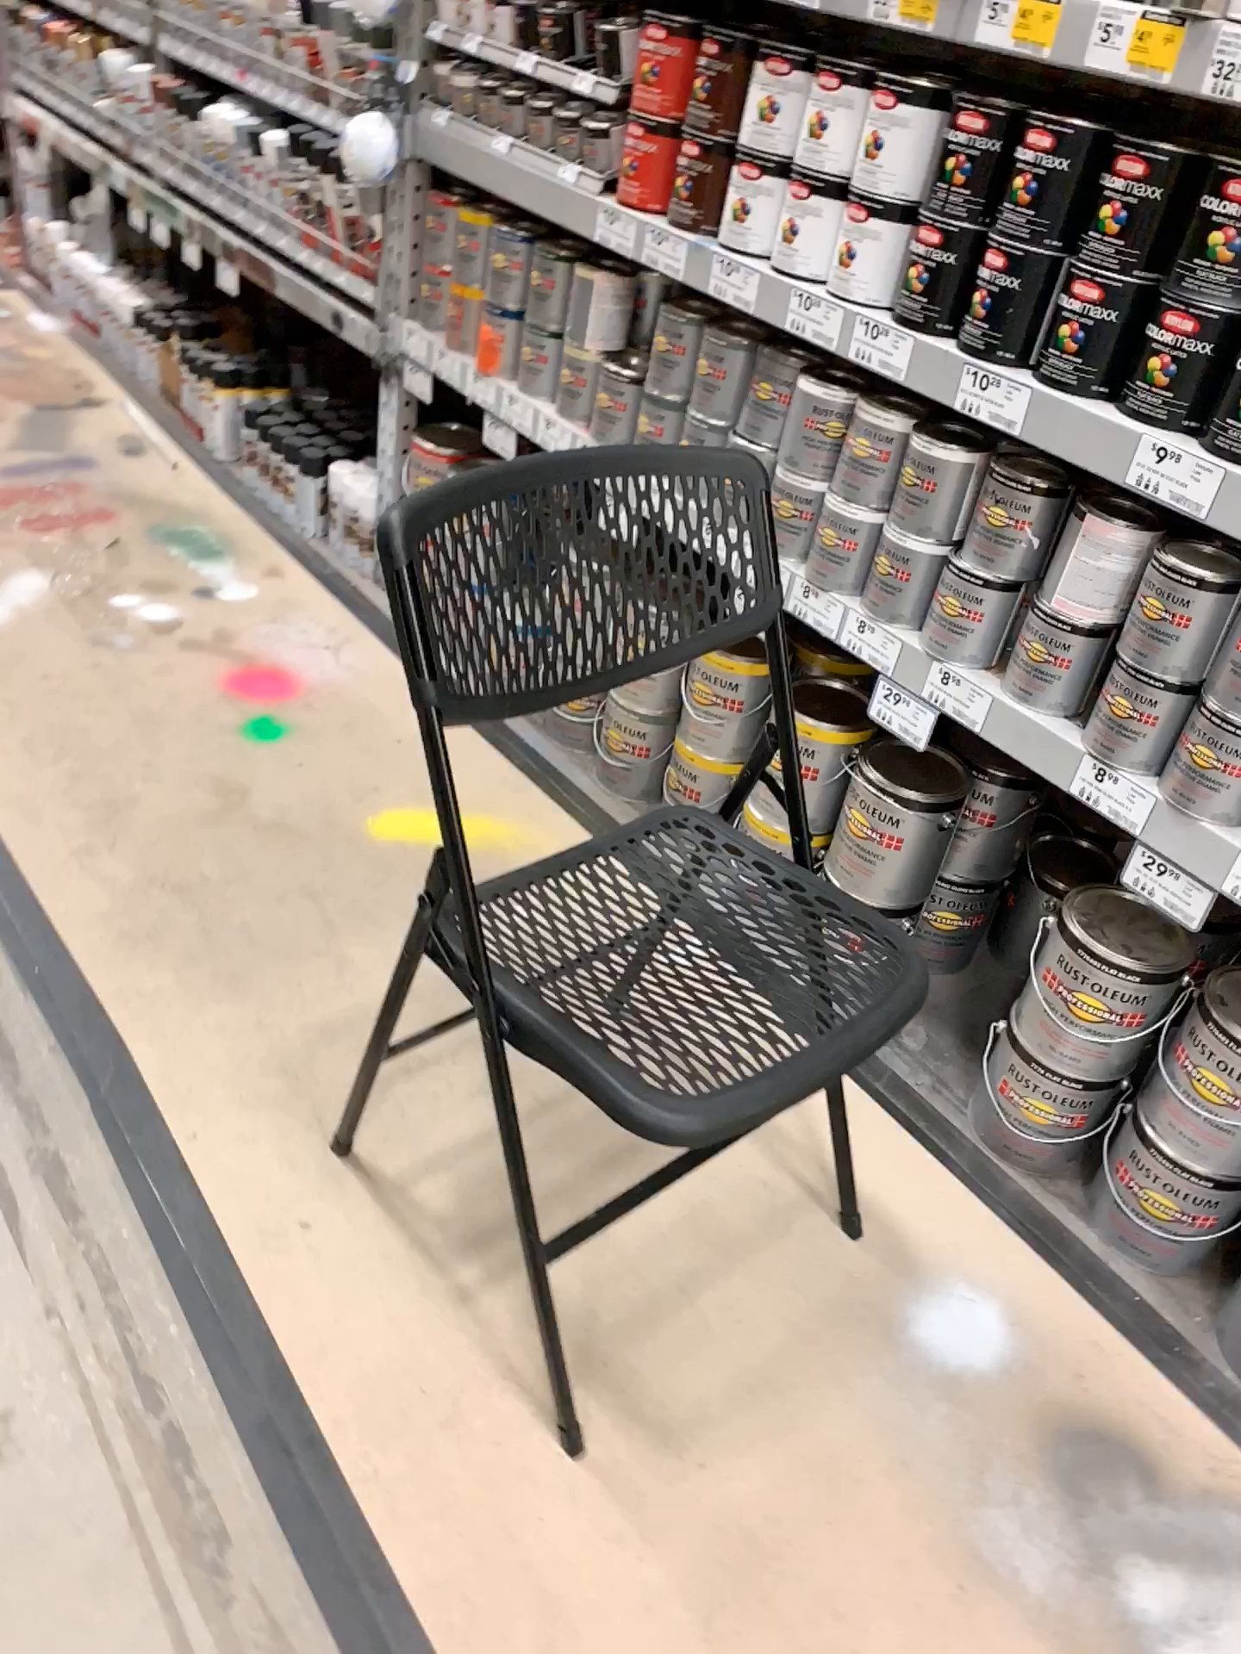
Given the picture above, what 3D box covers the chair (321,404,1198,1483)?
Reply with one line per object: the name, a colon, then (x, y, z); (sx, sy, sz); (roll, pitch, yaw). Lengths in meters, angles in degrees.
chair: (0.062, 0.089, 1.277); (0.519, 0.814, 0.517); (-21, 45, -36)
